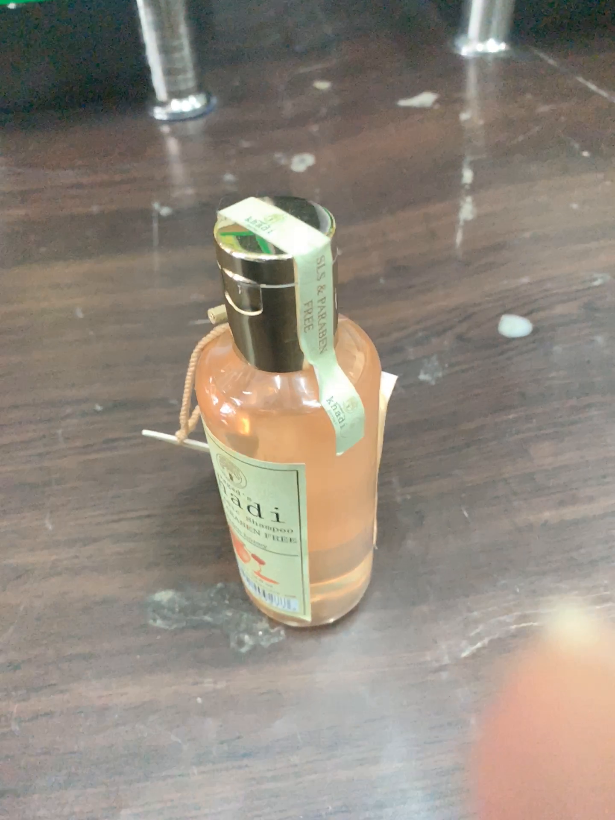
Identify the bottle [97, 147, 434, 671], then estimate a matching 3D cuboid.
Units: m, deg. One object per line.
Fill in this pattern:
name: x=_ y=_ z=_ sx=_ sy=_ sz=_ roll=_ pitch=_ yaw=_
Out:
bottle: x=-0.006 y=0.012 z=0.189 sx=0.050 sy=0.149 sz=0.050 roll=-2 pitch=47 yaw=2
